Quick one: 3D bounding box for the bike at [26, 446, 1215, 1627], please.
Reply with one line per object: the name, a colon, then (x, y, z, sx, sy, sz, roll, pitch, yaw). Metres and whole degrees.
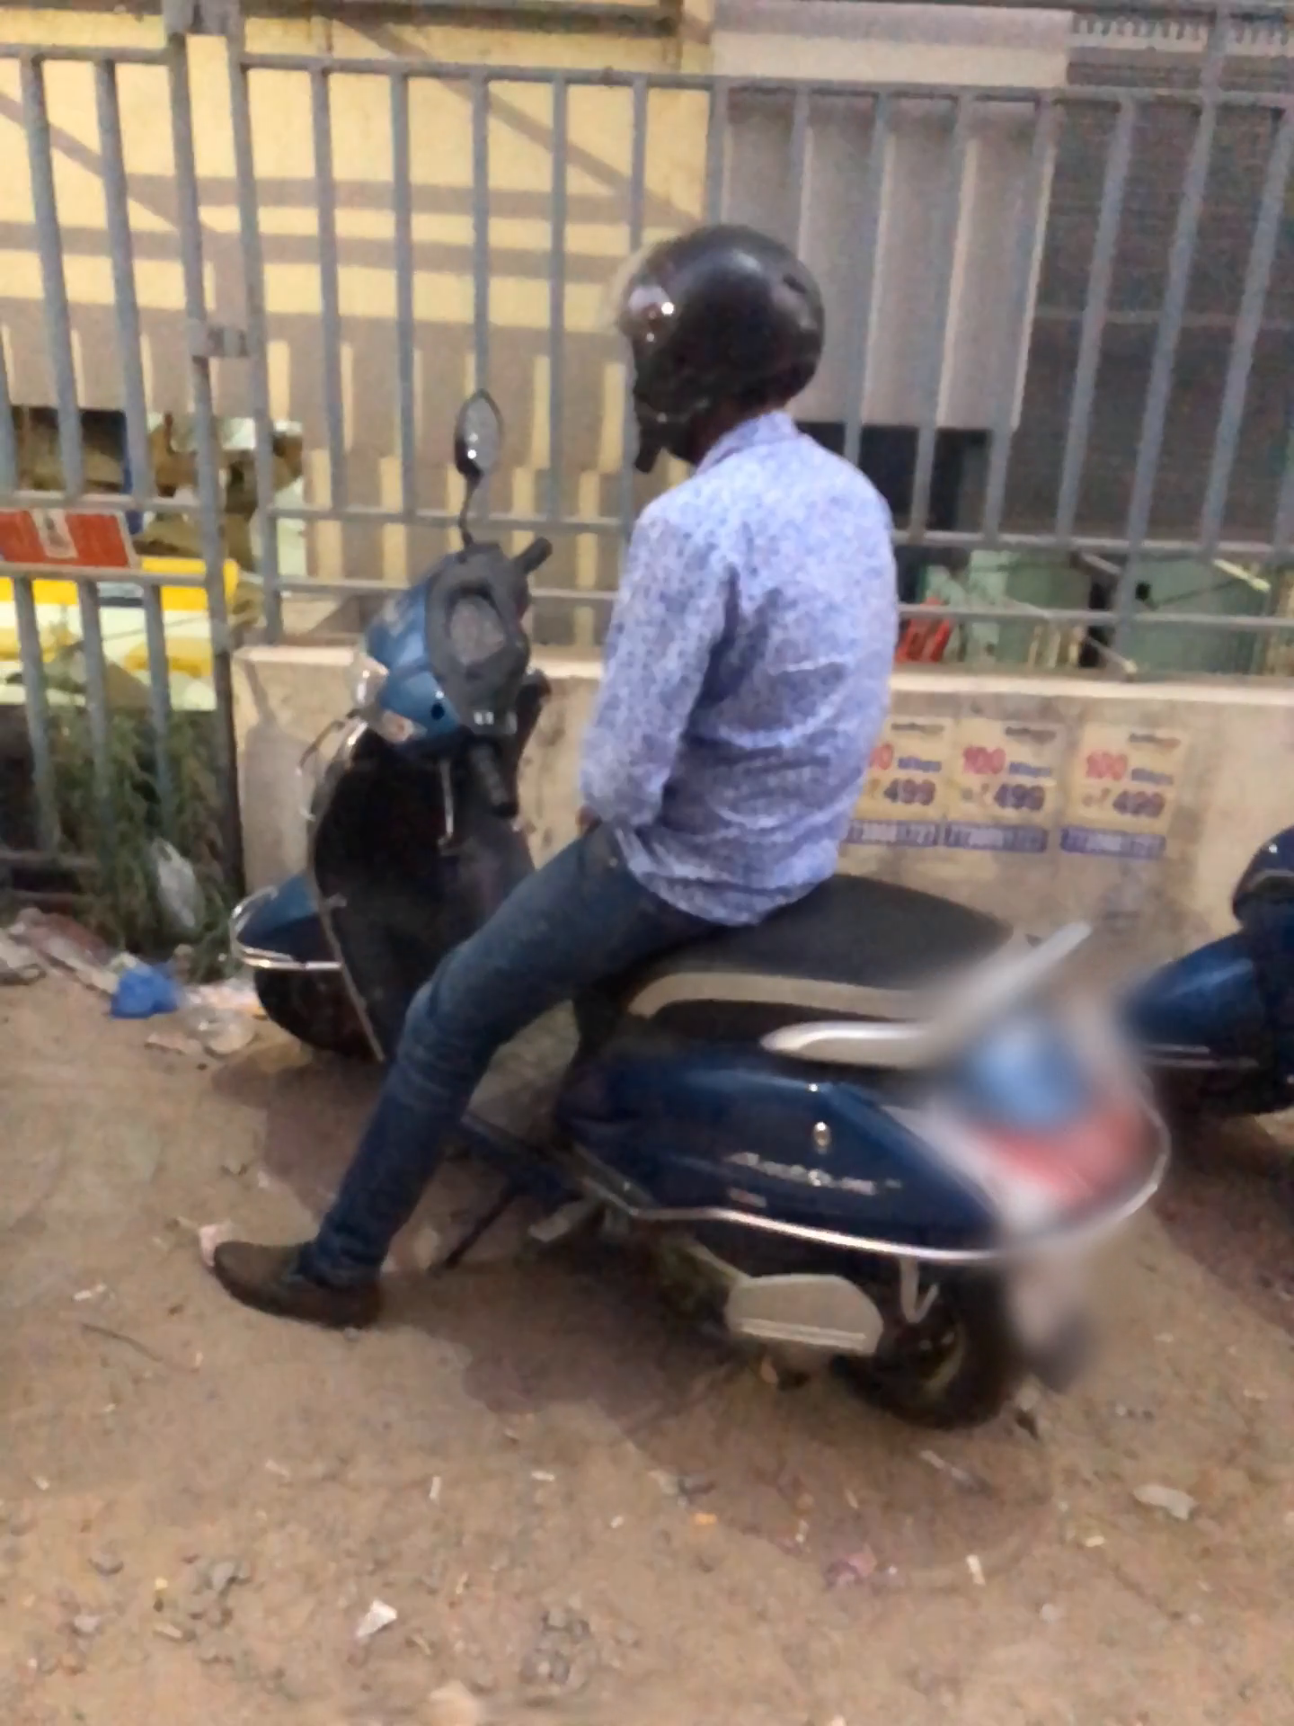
bike: (-0.098, 0.112, 2.093, 1.470, 1.131, 0.618, 19, 26, 27)
